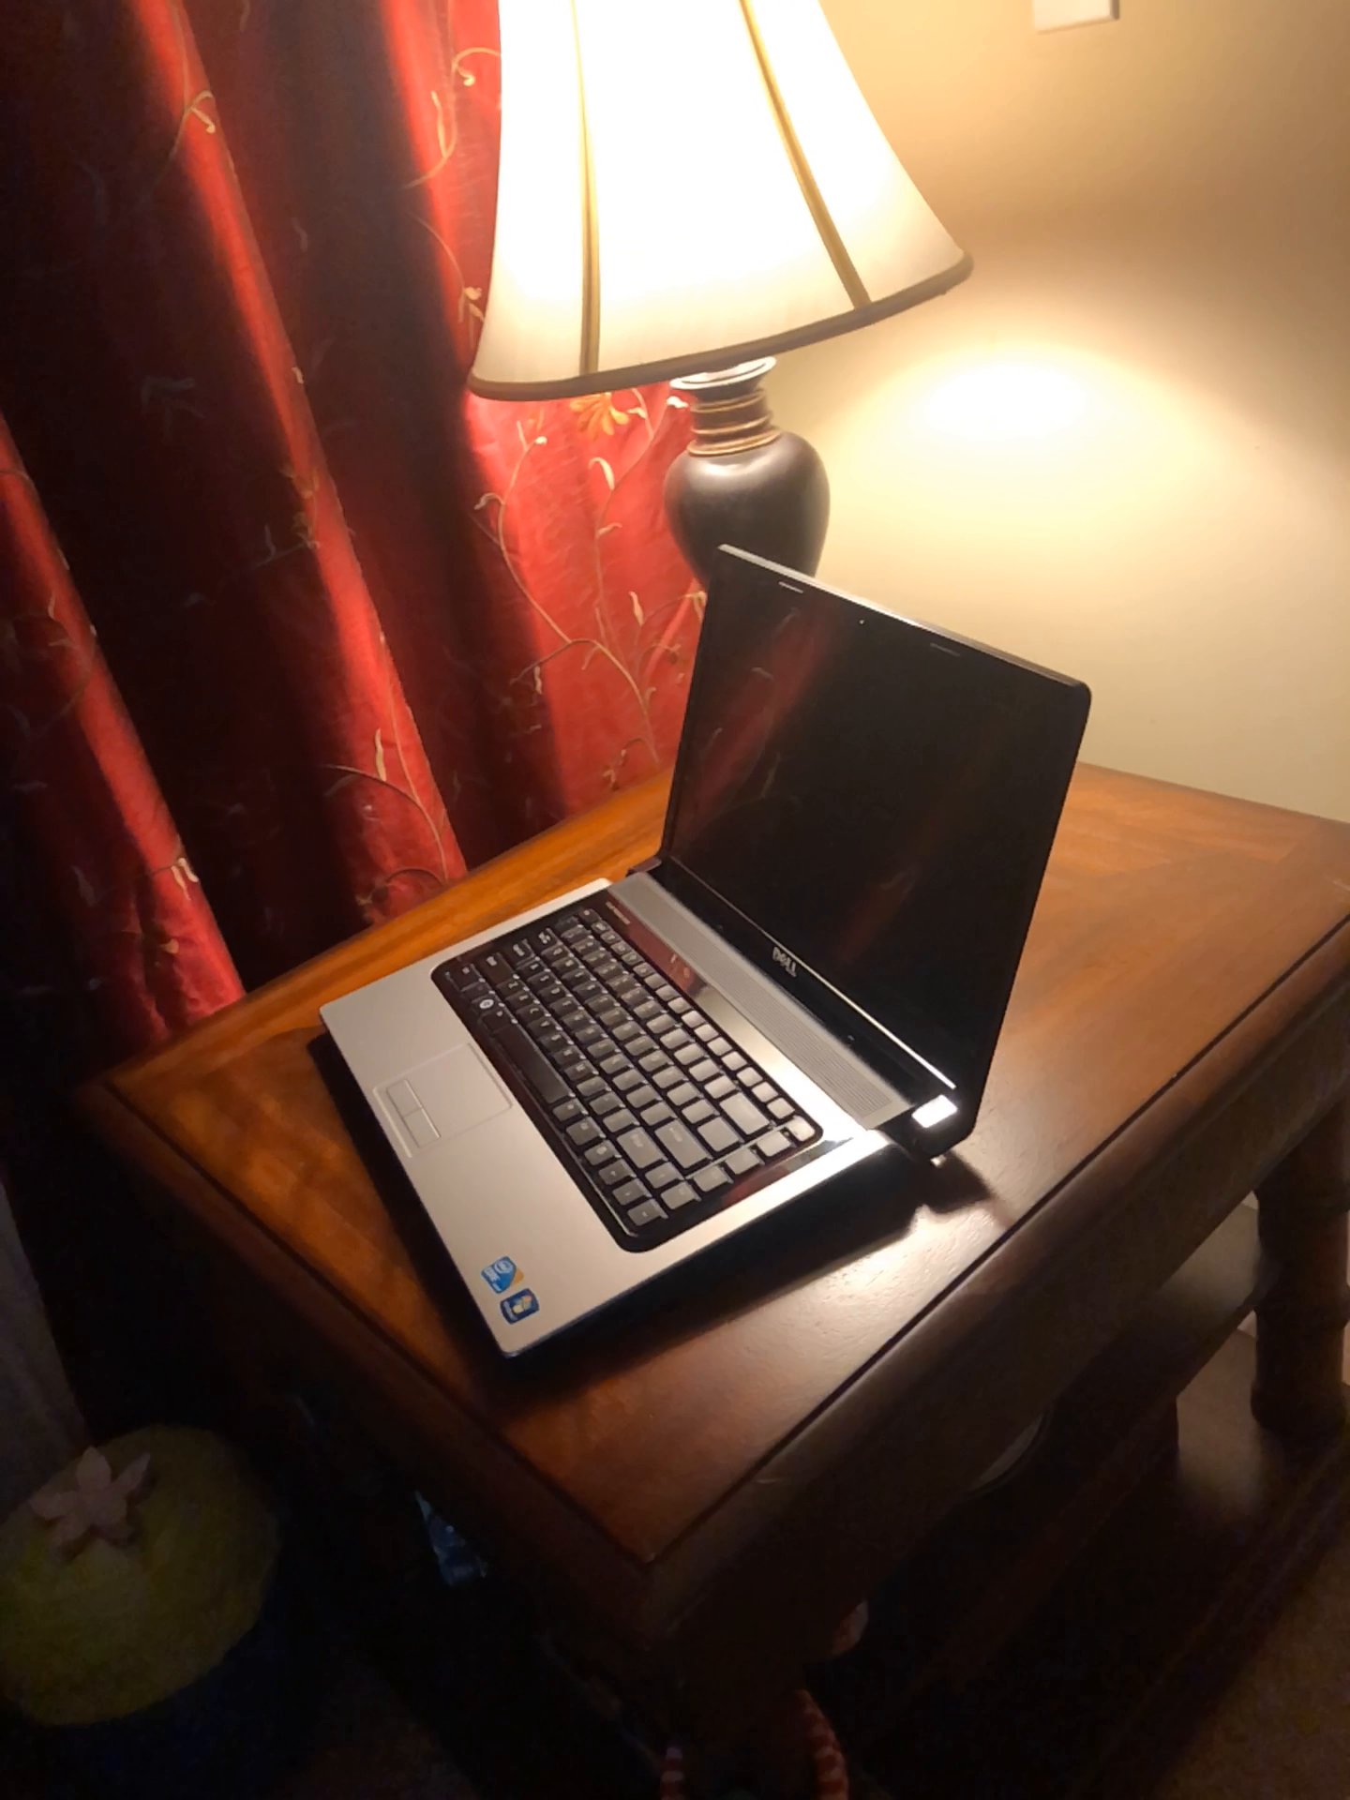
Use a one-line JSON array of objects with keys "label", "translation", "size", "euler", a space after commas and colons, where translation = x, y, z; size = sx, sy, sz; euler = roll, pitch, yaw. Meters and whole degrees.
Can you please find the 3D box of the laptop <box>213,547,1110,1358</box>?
[{"label": "laptop", "translation": [-0.021, -0.014, 0.826], "size": [0.350, 0.204, 0.364], "euler": [-23, 31, -18]}]
